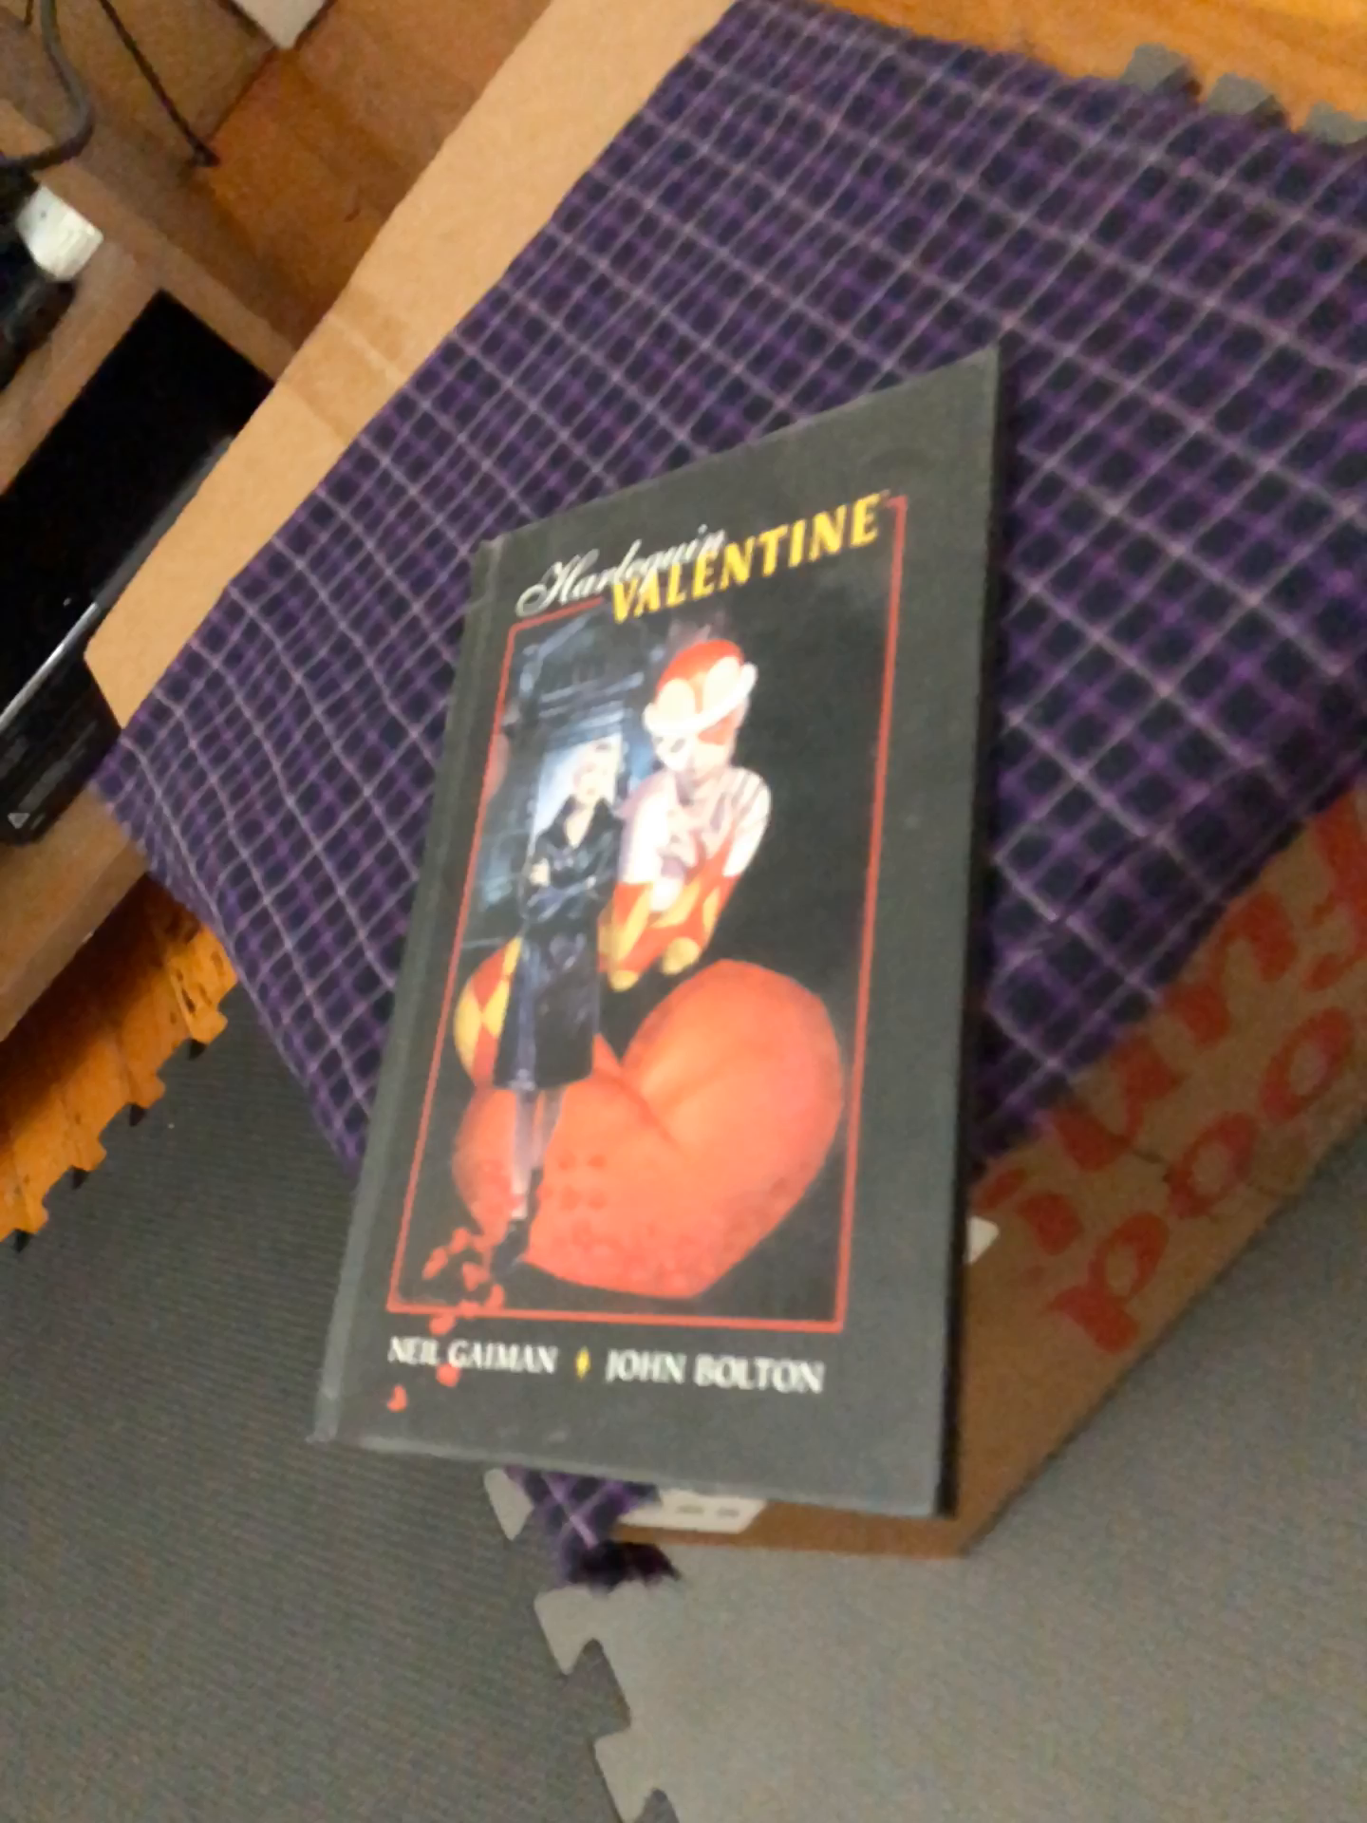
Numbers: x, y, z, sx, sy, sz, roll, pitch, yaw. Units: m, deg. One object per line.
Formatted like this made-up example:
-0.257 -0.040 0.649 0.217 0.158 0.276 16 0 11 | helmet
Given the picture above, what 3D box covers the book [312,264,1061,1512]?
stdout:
0.002 -0.011 0.367 0.180 0.020 0.281 -10 63 35 | book
